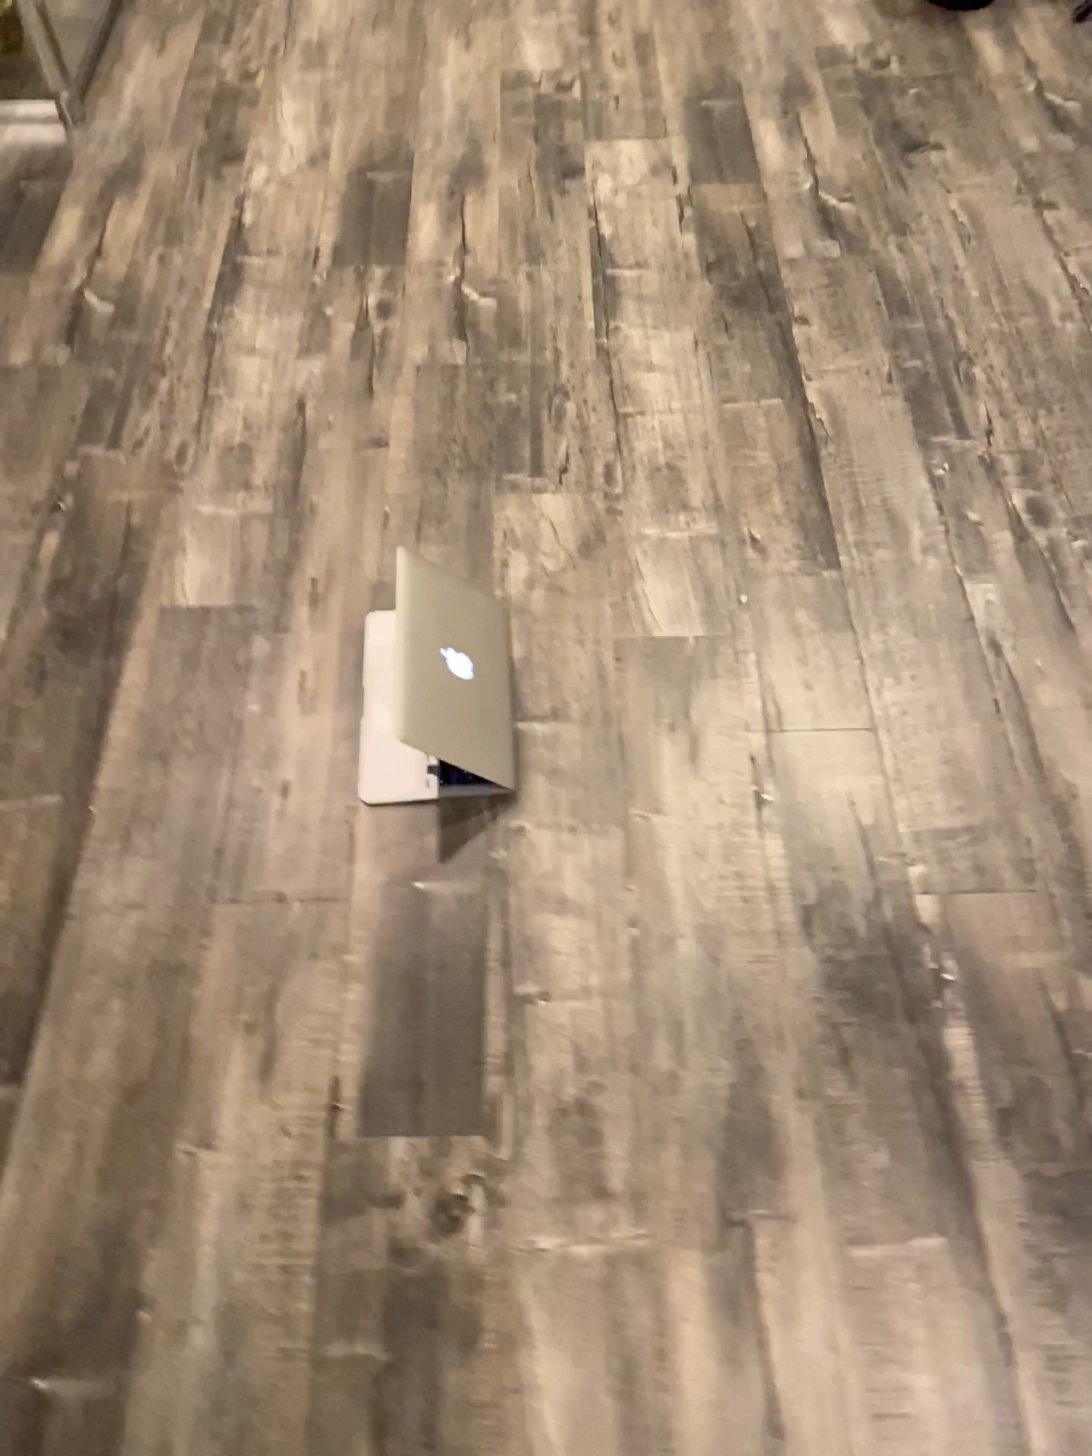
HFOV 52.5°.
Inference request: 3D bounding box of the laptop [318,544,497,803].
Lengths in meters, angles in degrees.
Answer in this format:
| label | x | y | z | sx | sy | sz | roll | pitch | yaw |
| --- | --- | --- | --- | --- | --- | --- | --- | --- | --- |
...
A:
| label | x | y | z | sx | sy | sz | roll | pitch | yaw |
| --- | --- | --- | --- | --- | --- | --- | --- | --- | --- |
| laptop | -0.169 | -0.071 | 1.379 | 0.193 | 0.132 | 0.293 | -4 | 56 | -2 |
